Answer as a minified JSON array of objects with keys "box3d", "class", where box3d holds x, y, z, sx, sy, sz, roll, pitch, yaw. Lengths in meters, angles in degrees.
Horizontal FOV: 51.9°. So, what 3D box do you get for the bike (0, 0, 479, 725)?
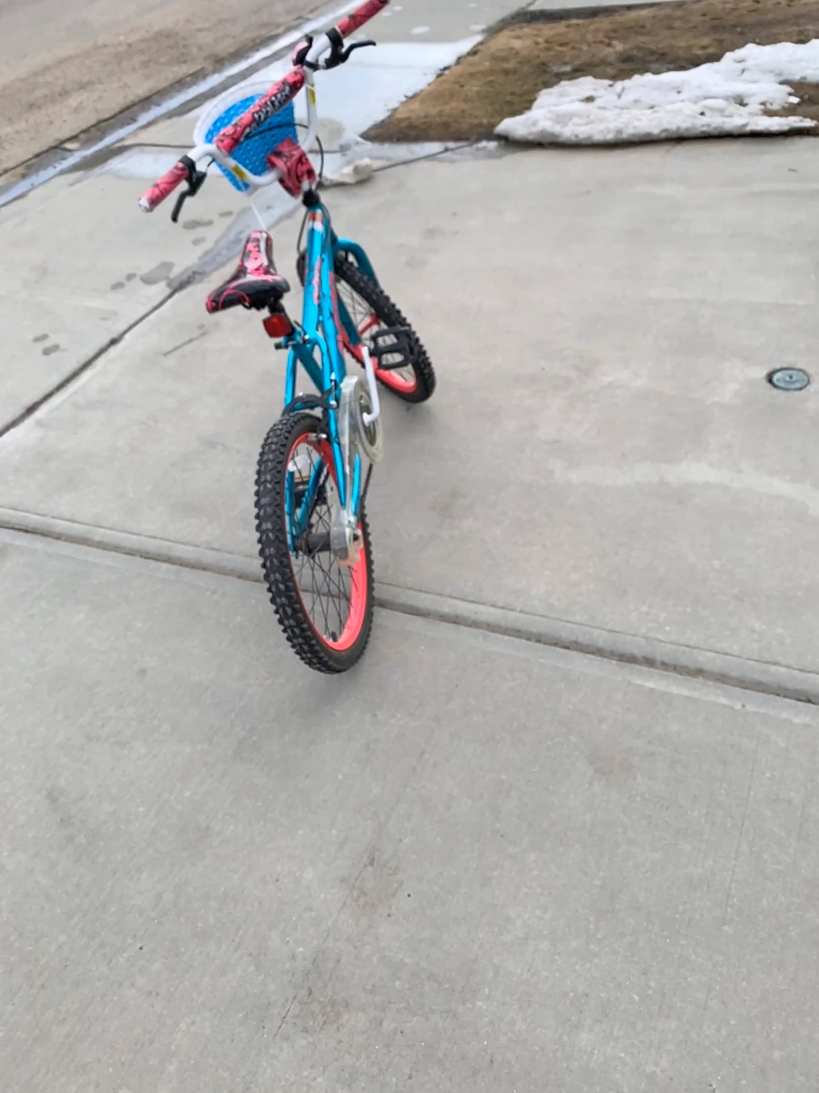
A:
[{"box3d":[-0.318,-0.473,1.700,0.743,0.946,1.265,-5,45,2],"class":"bike"}]
